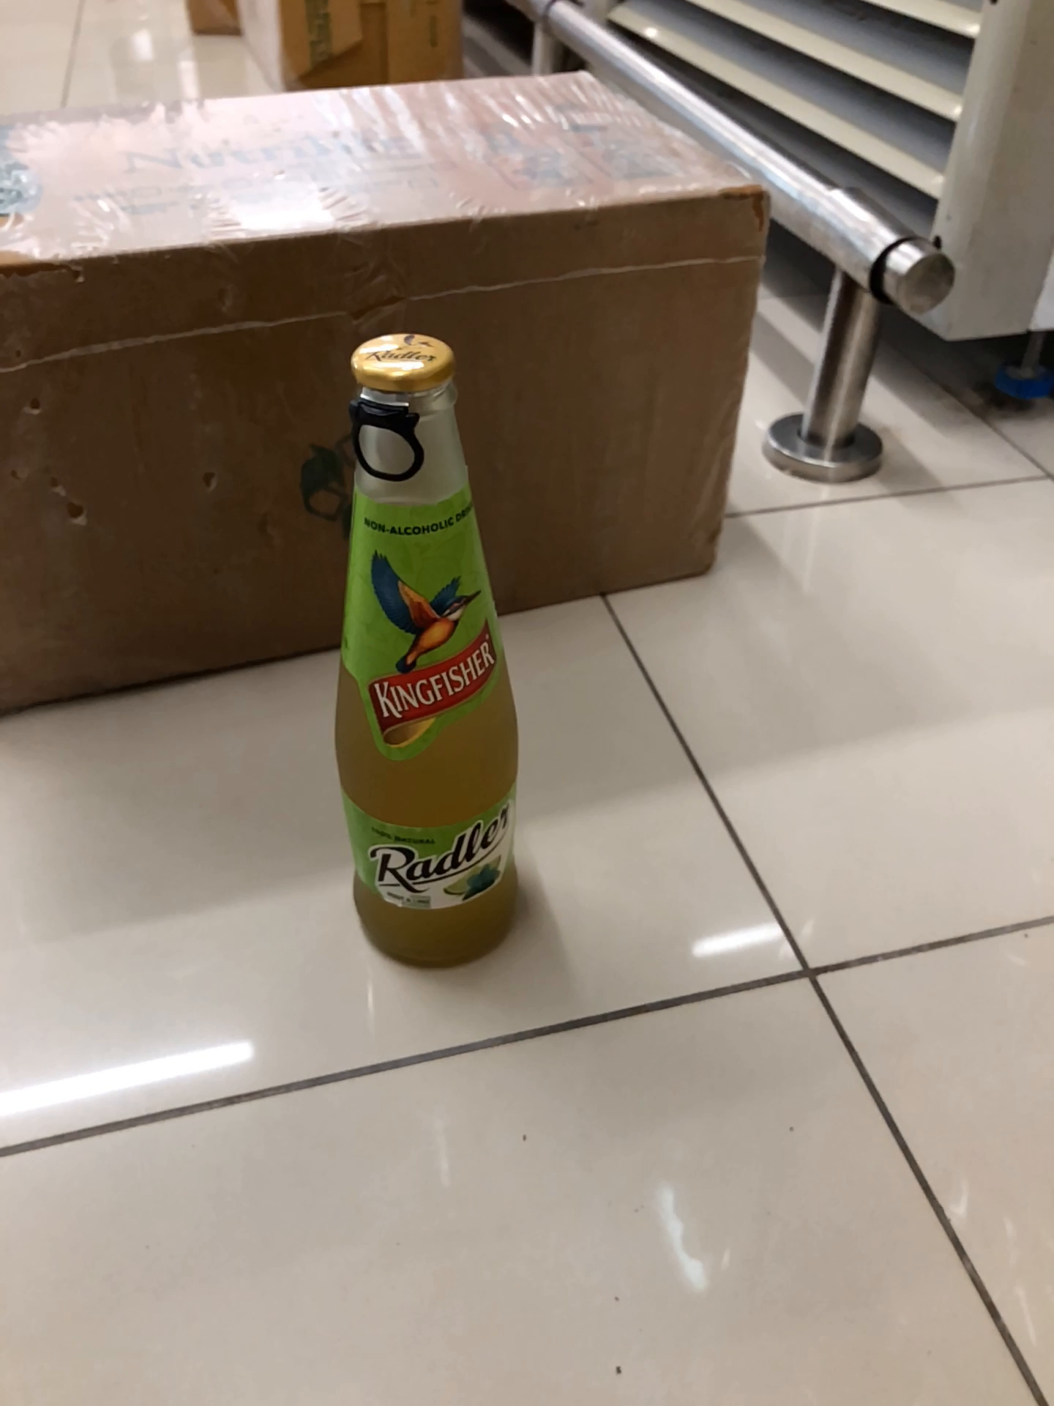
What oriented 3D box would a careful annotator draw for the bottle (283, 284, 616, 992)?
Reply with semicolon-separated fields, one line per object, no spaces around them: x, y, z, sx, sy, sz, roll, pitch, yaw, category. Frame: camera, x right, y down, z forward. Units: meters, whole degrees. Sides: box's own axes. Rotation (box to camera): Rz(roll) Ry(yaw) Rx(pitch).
-0.023;-0.009;0.354;0.070;0.209;0.060;-9;41;-13;bottle
